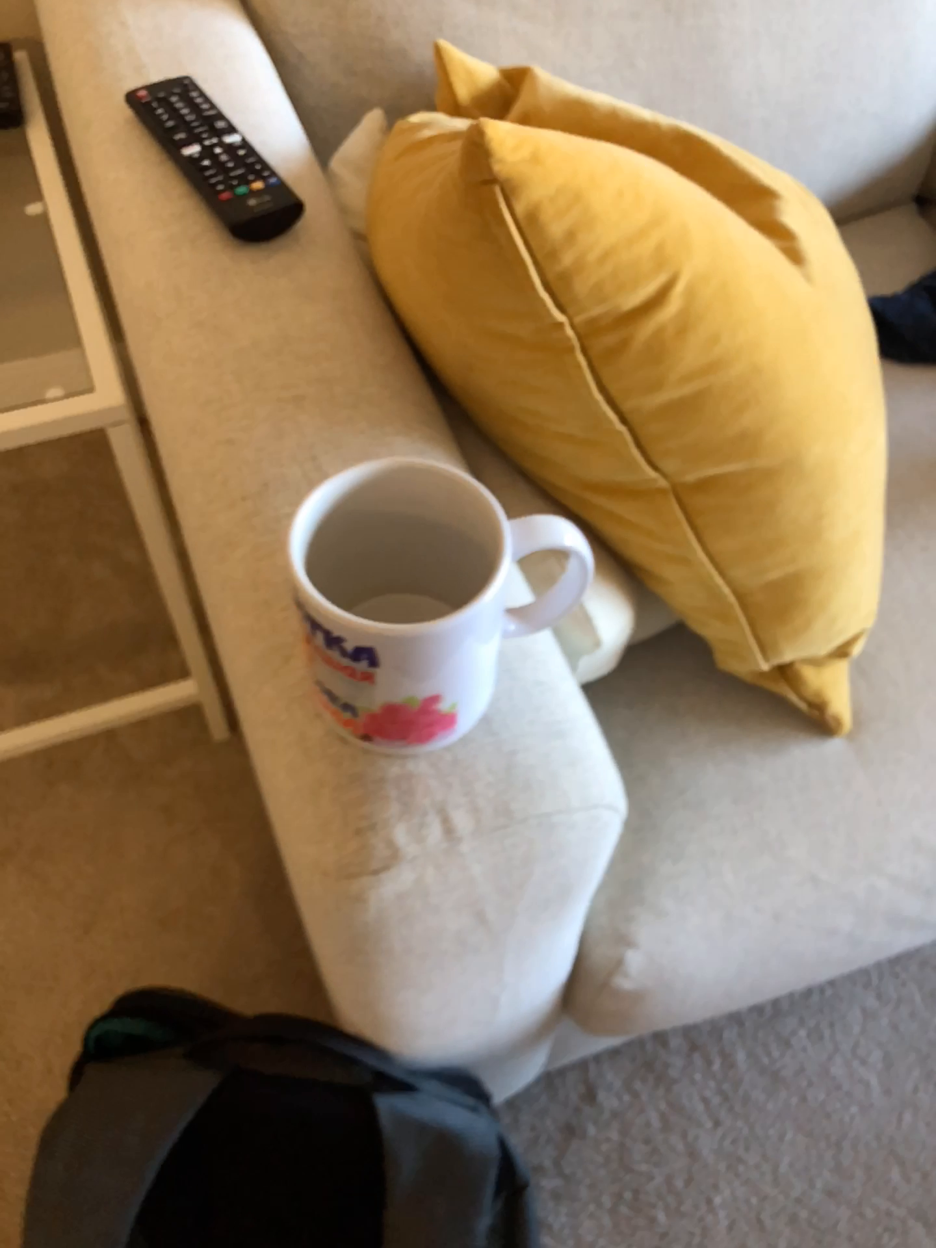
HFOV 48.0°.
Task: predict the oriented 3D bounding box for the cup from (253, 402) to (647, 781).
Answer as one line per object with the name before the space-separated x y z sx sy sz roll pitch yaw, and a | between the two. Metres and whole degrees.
cup | -0.010 -0.011 0.407 0.120 0.100 0.080 -13 56 -11
